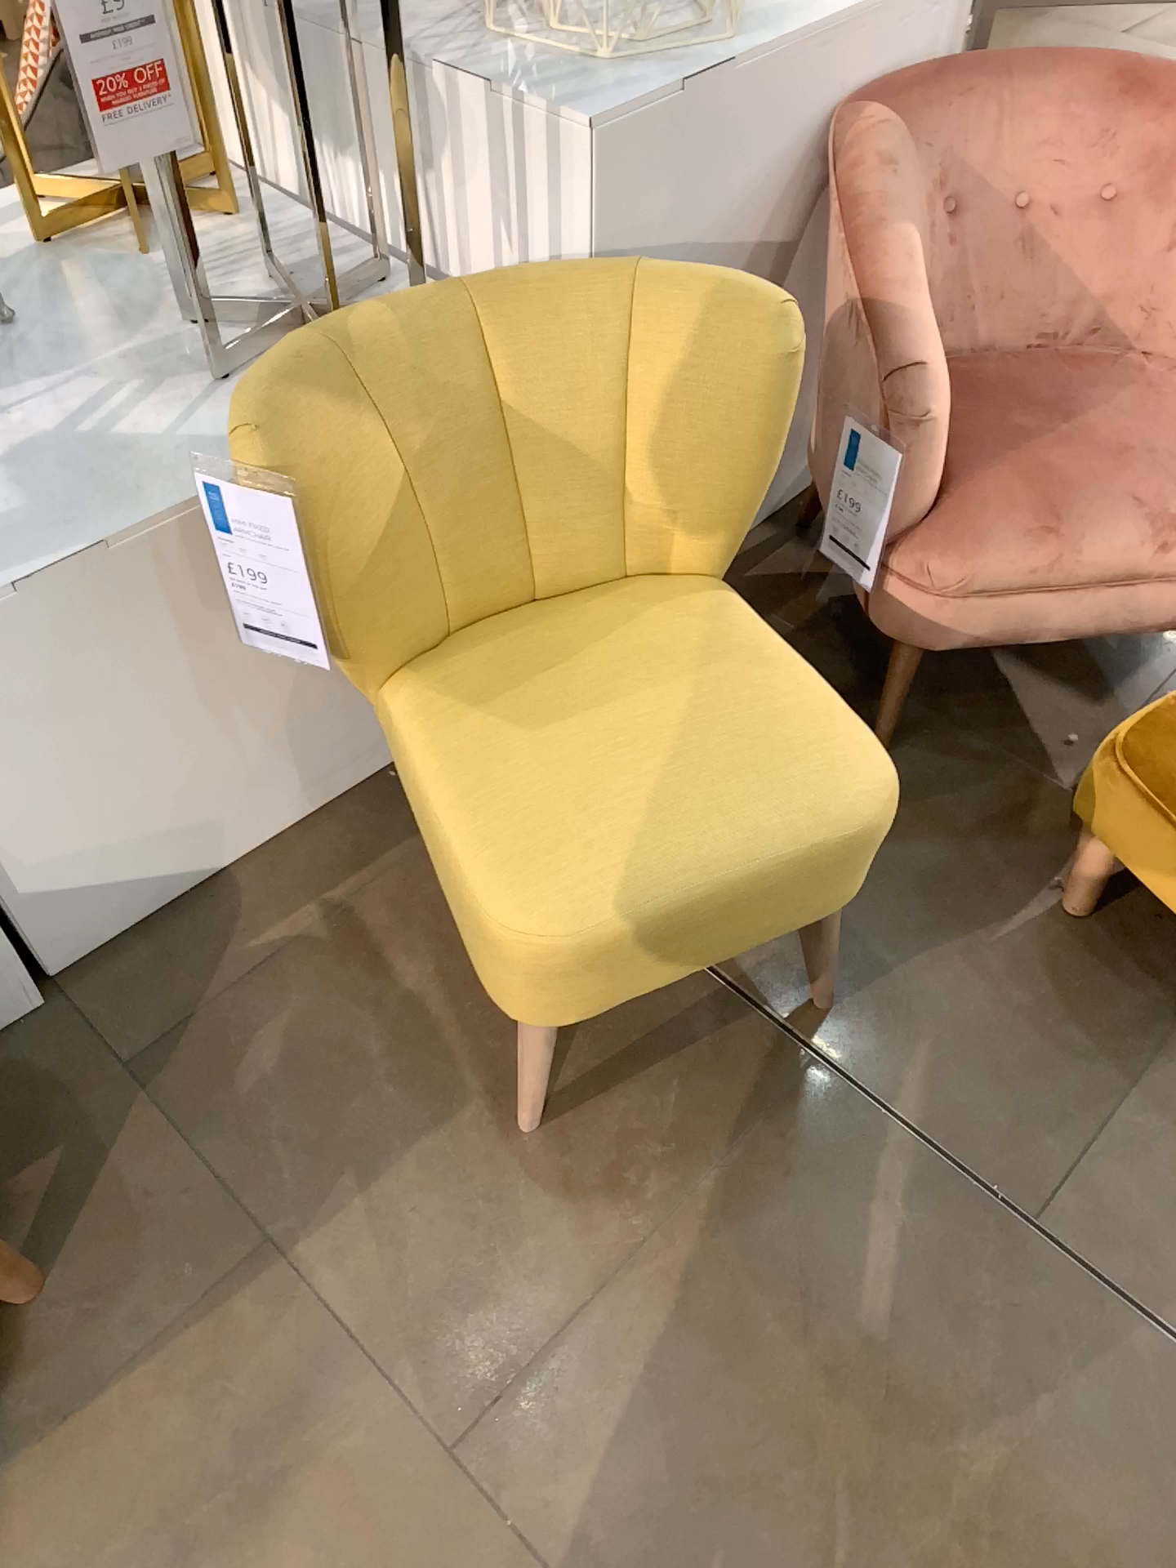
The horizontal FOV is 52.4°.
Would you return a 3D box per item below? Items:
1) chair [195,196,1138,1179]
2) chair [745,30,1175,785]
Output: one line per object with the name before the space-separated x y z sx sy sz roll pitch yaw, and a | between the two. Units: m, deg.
chair | 0.028 -0.102 1.273 0.607 0.696 0.590 -18 51 -15
chair | 0.634 -0.514 1.687 0.617 0.766 0.591 -8 49 -7
